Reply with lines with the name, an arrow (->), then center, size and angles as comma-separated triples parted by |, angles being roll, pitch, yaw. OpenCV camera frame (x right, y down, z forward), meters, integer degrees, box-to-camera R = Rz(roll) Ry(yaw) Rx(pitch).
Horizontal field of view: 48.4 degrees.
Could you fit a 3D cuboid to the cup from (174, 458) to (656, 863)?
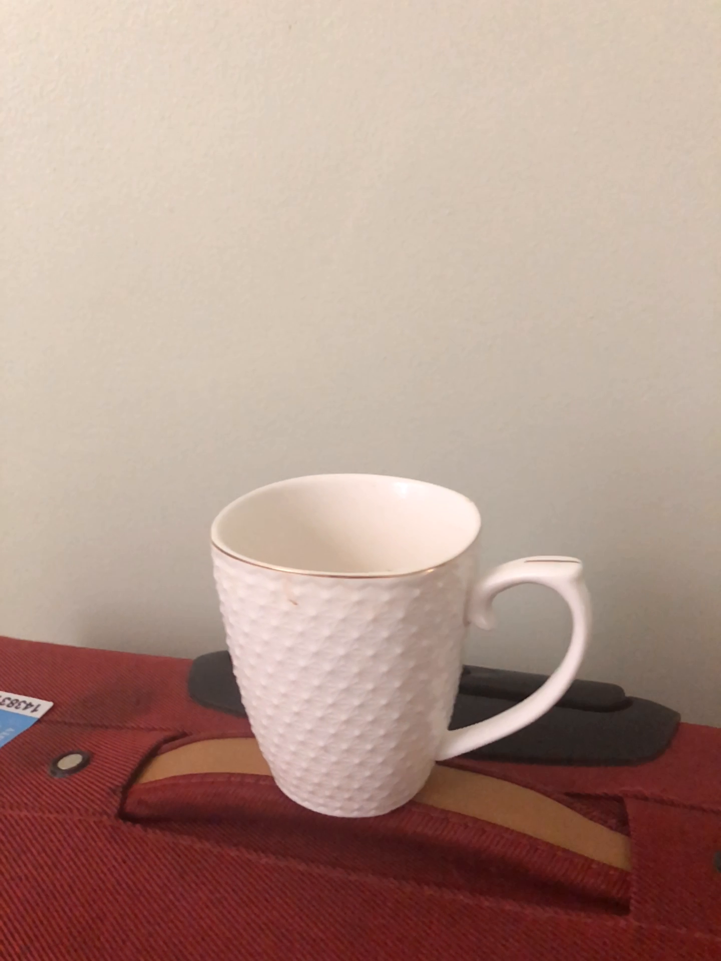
cup -> 0.017, 0.046, 0.235 | 0.111, 0.084, 0.075 | 0, 21, 8
